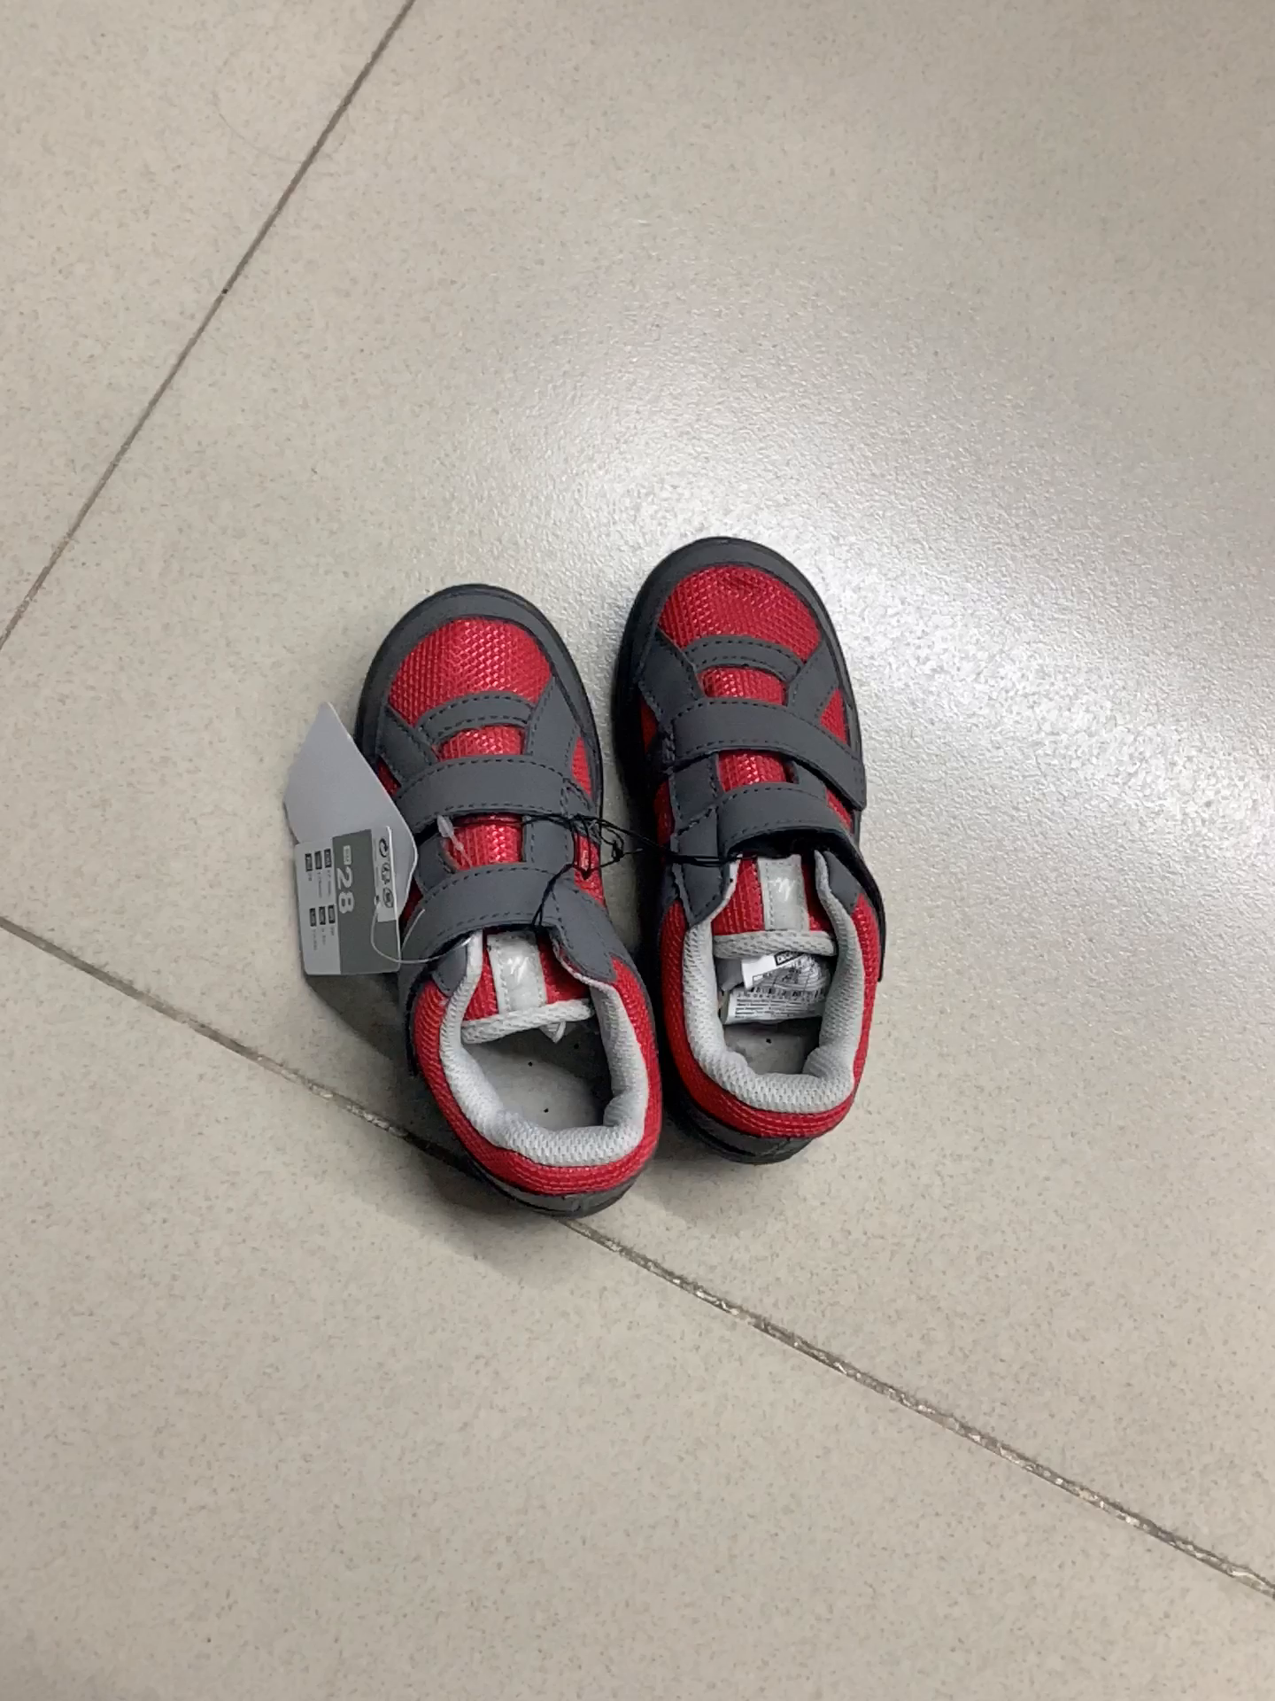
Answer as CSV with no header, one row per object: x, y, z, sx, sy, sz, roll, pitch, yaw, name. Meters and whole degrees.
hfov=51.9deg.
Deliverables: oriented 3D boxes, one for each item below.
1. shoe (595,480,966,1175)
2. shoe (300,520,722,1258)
0.038,-0.006,0.404,0.080,0.080,0.190,-4,84,-7,shoe
-0.038,0.011,0.376,0.080,0.080,0.180,-9,84,-8,shoe
